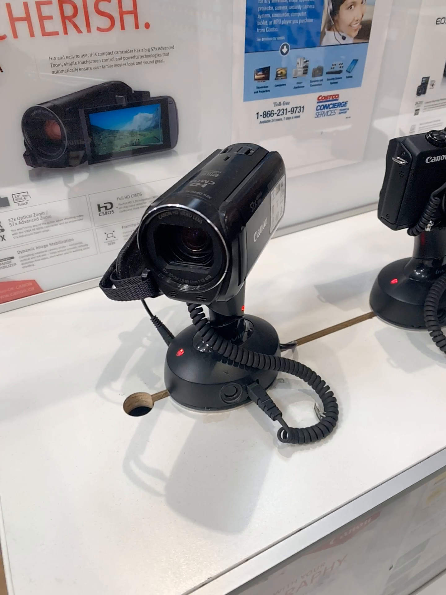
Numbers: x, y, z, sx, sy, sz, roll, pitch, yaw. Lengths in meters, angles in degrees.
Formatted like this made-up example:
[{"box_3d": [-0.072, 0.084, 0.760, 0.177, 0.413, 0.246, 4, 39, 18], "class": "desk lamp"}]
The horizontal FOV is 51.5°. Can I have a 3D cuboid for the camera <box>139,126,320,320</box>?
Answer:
[{"box_3d": [0.010, -0.048, 0.251, 0.058, 0.054, 0.114, 12, 36, 16], "class": "camera"}]
